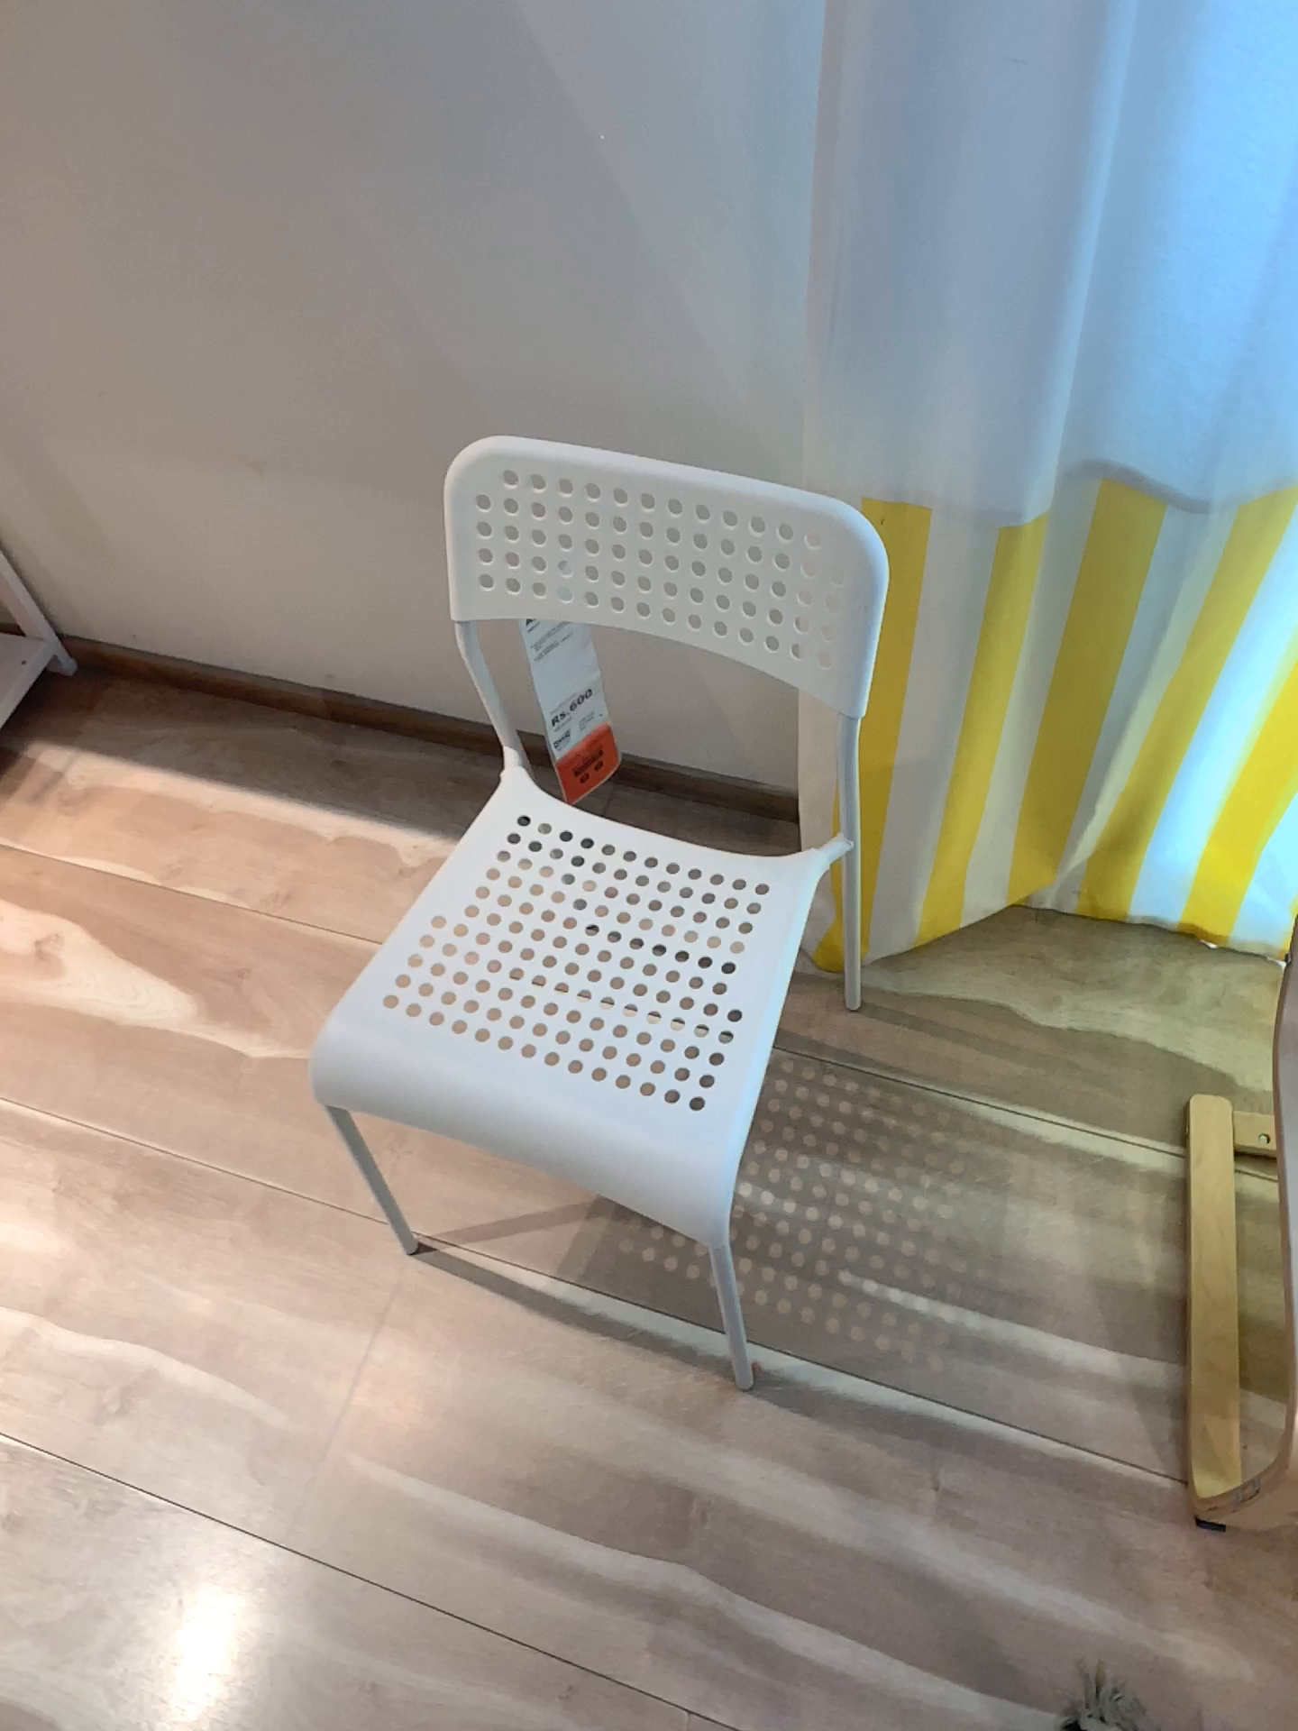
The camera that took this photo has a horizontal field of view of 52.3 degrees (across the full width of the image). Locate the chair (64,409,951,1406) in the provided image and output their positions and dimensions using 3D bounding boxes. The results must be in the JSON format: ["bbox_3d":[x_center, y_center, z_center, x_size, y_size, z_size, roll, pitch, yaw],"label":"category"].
[{"bbox_3d":[-0.040,0.065,1.183,0.440,0.658,0.531,15,59,17],"label":"chair"}]
